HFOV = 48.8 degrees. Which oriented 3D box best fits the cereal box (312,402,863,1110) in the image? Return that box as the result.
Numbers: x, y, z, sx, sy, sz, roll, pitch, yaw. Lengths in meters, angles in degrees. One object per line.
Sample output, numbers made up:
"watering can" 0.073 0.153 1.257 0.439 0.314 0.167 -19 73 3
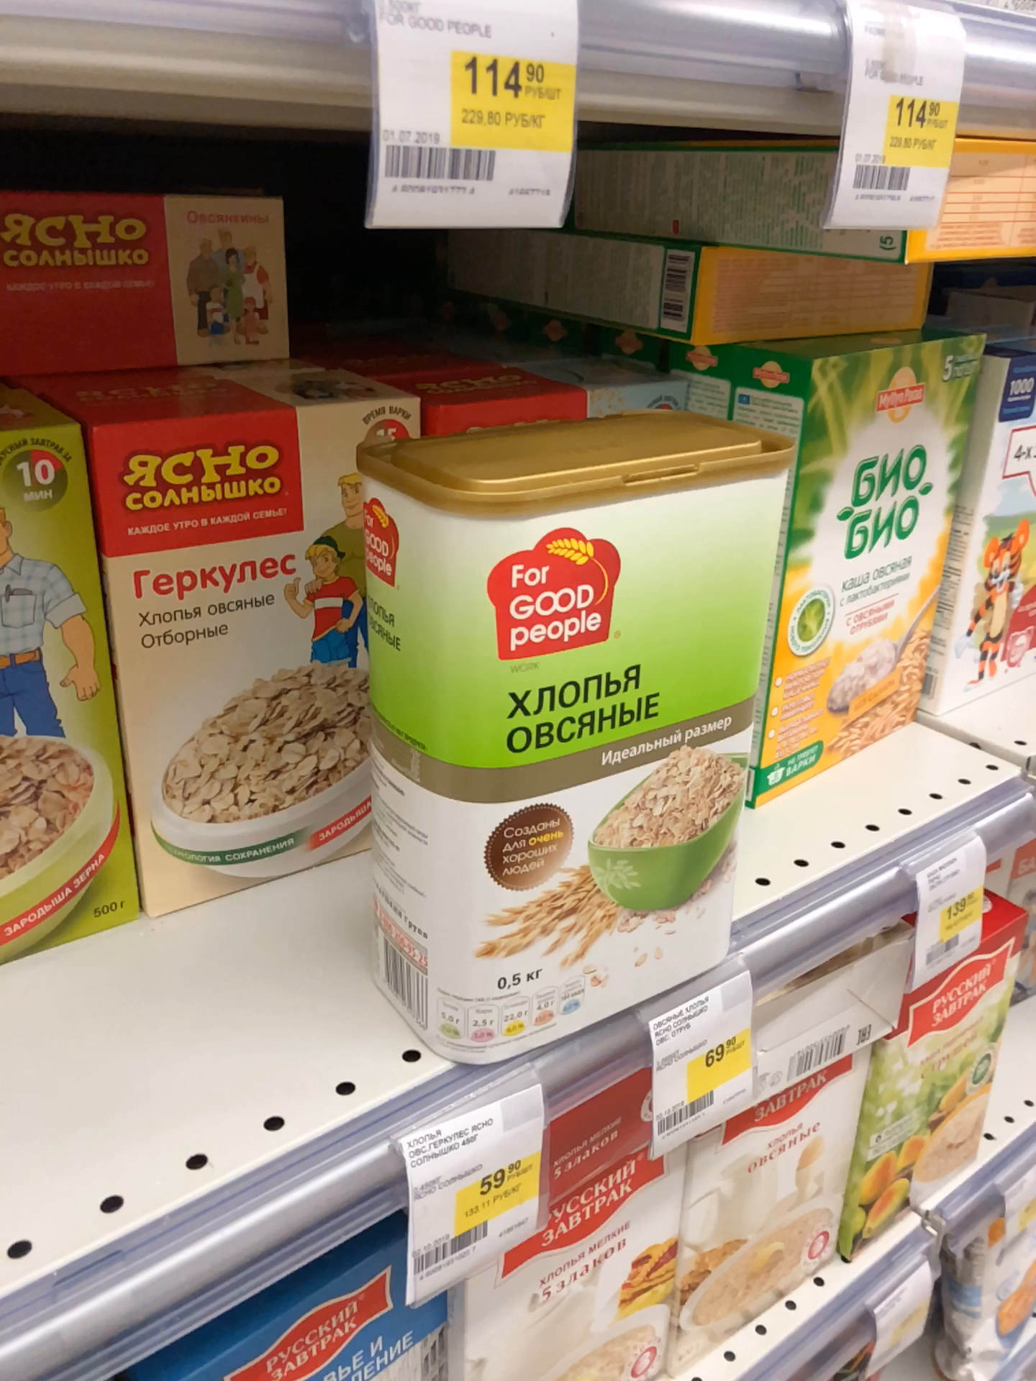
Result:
"cereal box" 0.019 0.012 0.383 0.140 0.189 0.090 -13 28 -30
